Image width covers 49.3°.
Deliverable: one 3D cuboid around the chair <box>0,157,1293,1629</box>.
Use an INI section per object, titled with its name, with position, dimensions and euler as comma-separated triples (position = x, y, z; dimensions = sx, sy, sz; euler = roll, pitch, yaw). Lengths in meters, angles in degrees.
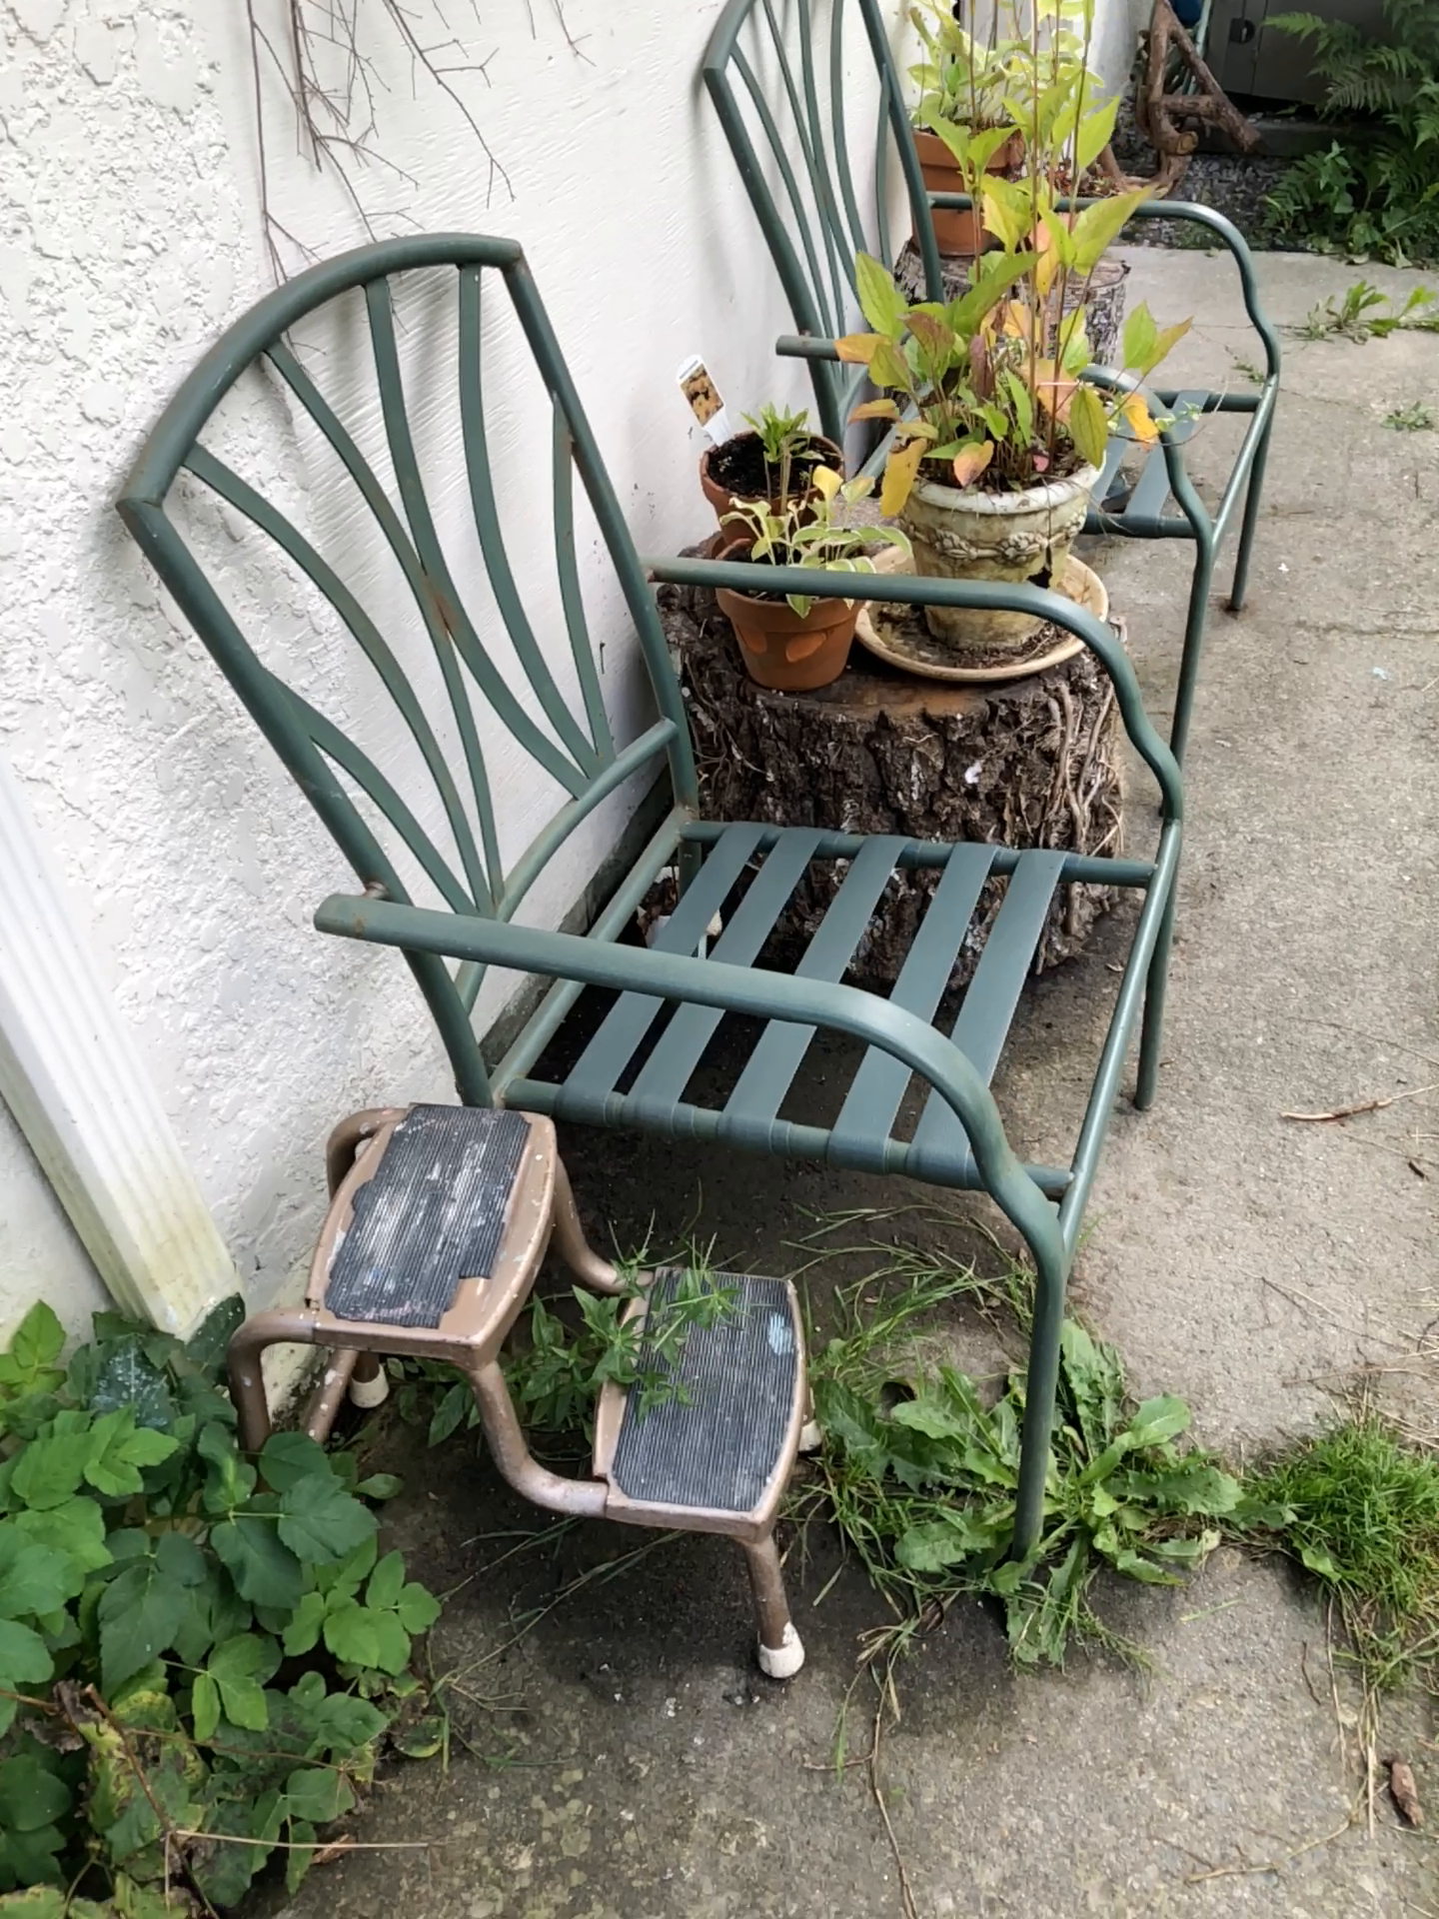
[chair]
position = 0.004, -0.068, 1.279
dimensions = 0.681, 0.904, 0.624
euler = 11, 42, 17
